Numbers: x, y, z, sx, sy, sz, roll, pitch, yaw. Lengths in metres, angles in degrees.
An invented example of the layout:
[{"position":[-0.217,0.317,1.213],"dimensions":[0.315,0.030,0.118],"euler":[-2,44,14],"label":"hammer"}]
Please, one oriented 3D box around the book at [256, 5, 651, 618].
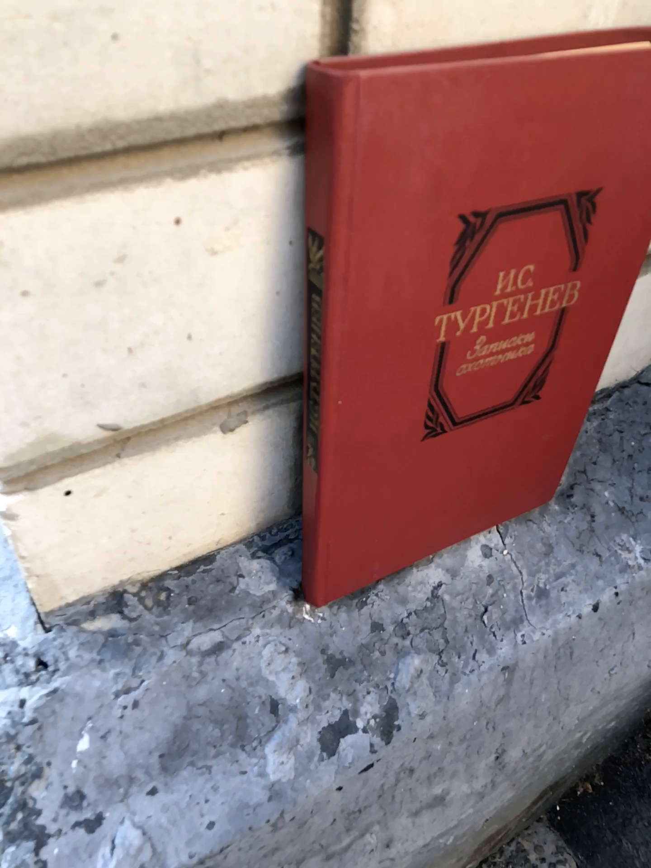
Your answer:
[{"position":[0.053,-0.032,0.265],"dimensions":[0.147,0.205,0.026],"euler":[-19,44,-21],"label":"book"}]
